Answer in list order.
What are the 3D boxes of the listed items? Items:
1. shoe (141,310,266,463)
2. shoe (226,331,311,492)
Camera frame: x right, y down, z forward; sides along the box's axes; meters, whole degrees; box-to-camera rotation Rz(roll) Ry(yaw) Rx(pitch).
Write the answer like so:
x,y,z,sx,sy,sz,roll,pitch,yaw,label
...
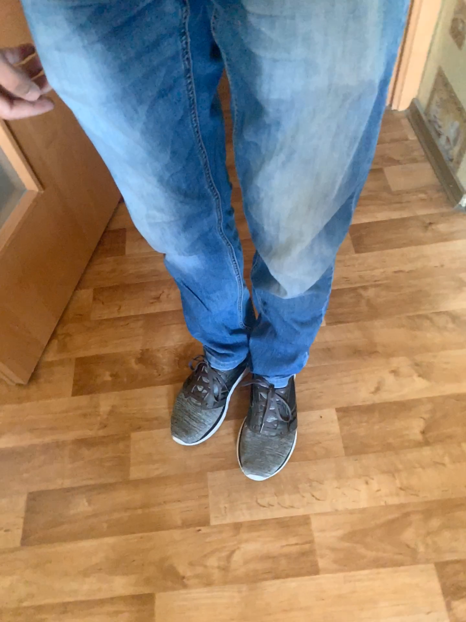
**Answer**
x,y,z,sx,sy,sz,roll,pitch,yaw,label
-0.053,0.153,1.003,0.124,0.100,0.280,24,62,20,shoe
0.079,0.196,0.962,0.134,0.100,0.291,5,58,9,shoe
